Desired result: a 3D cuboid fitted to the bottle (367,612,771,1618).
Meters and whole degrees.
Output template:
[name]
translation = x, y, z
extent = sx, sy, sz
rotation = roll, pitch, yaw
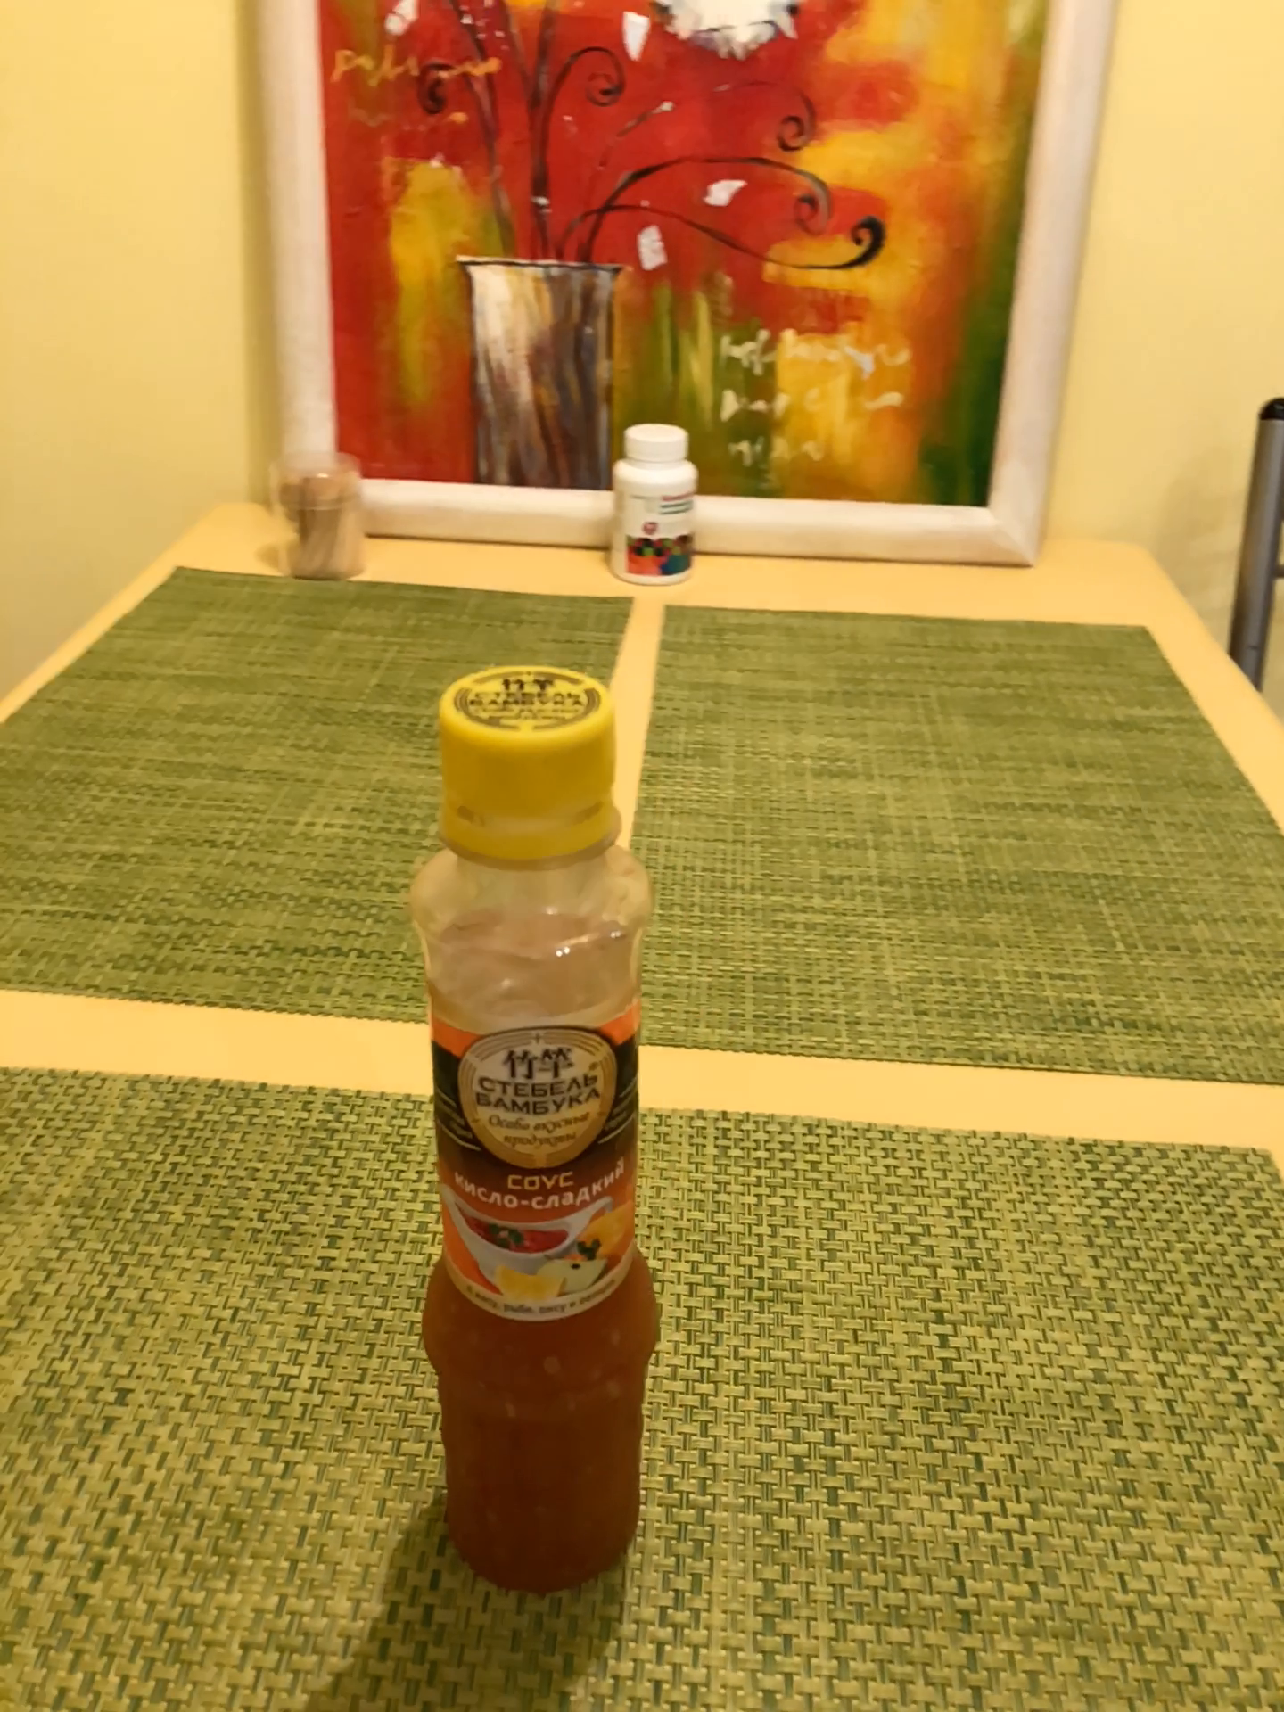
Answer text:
[bottle]
translation = -0.018, 0.061, 0.287
extent = 0.060, 0.209, 0.060
rotation = 2, 30, -1
